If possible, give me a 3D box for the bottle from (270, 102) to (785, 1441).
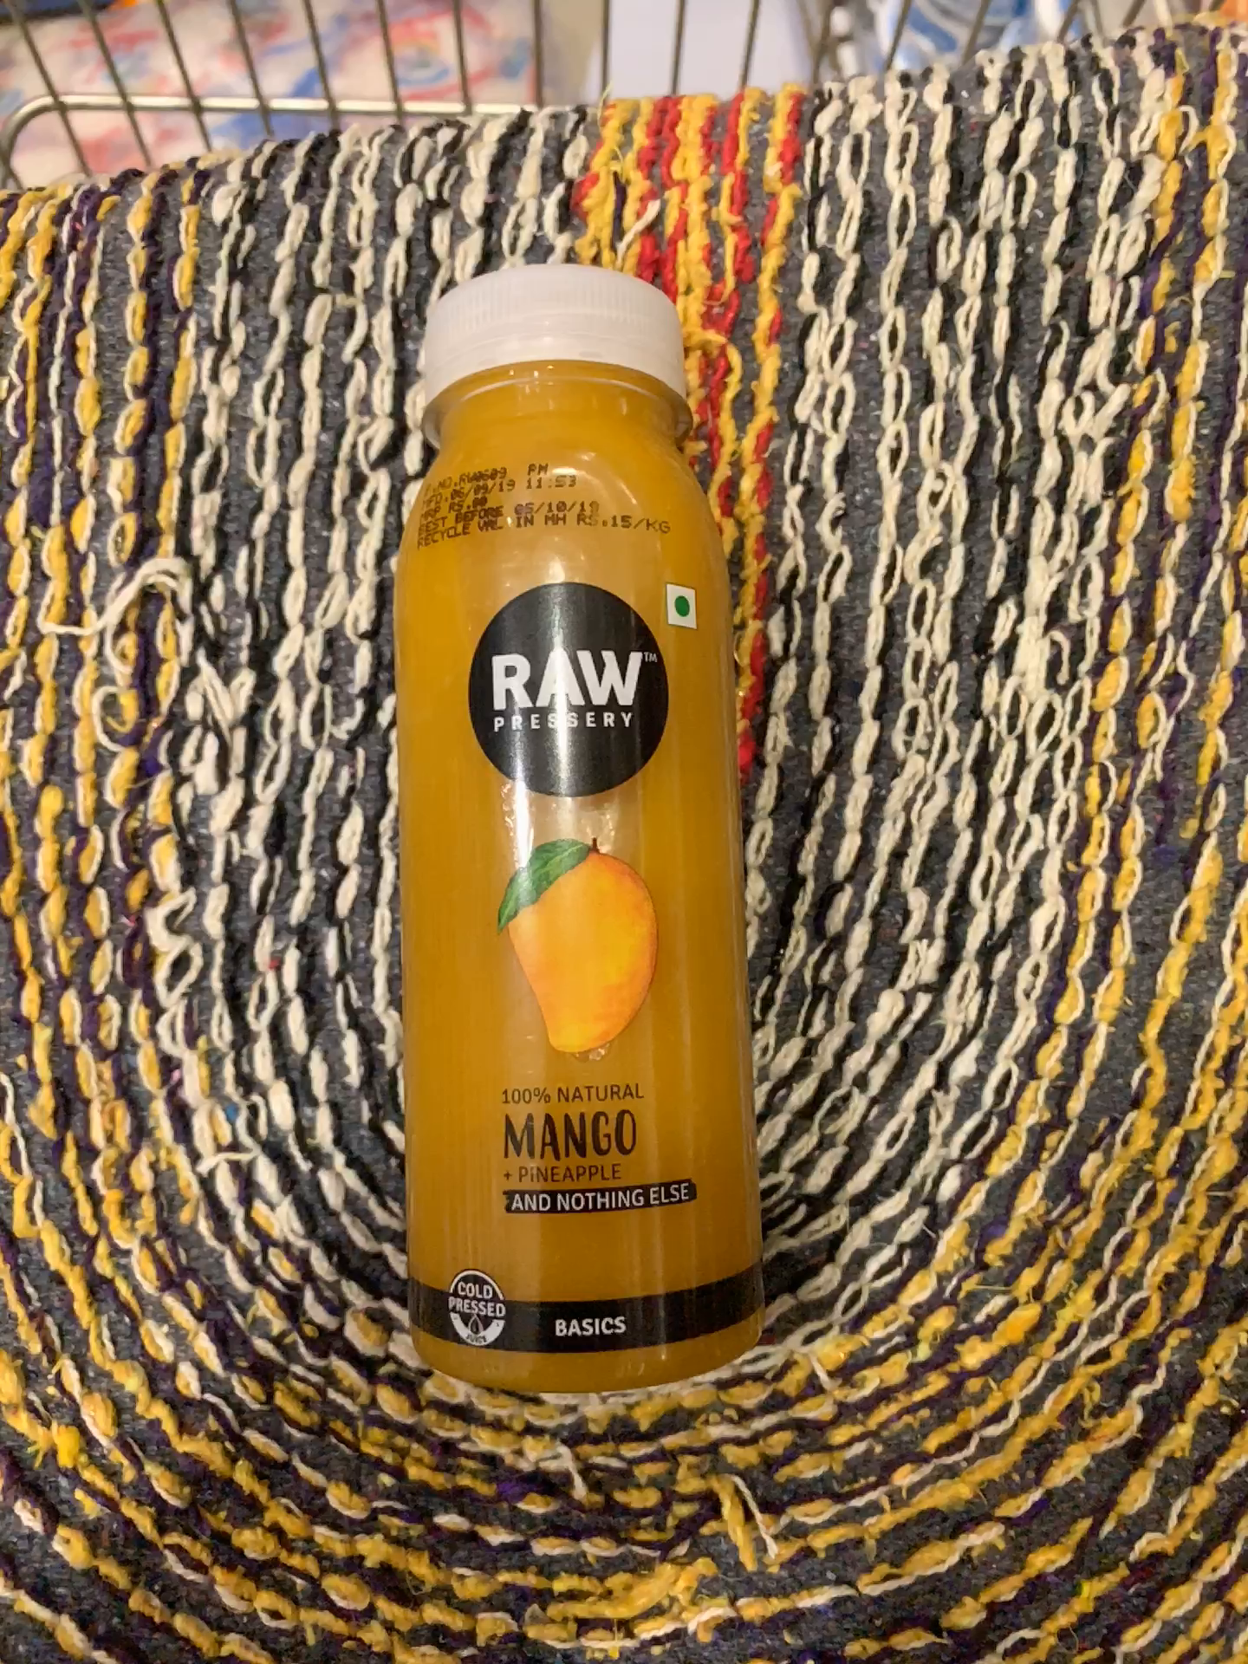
[{"bbox_3d":[-0.014,-0.010,0.189,0.060,0.050,0.170,-1,82,-1],"label":"bottle"}]
